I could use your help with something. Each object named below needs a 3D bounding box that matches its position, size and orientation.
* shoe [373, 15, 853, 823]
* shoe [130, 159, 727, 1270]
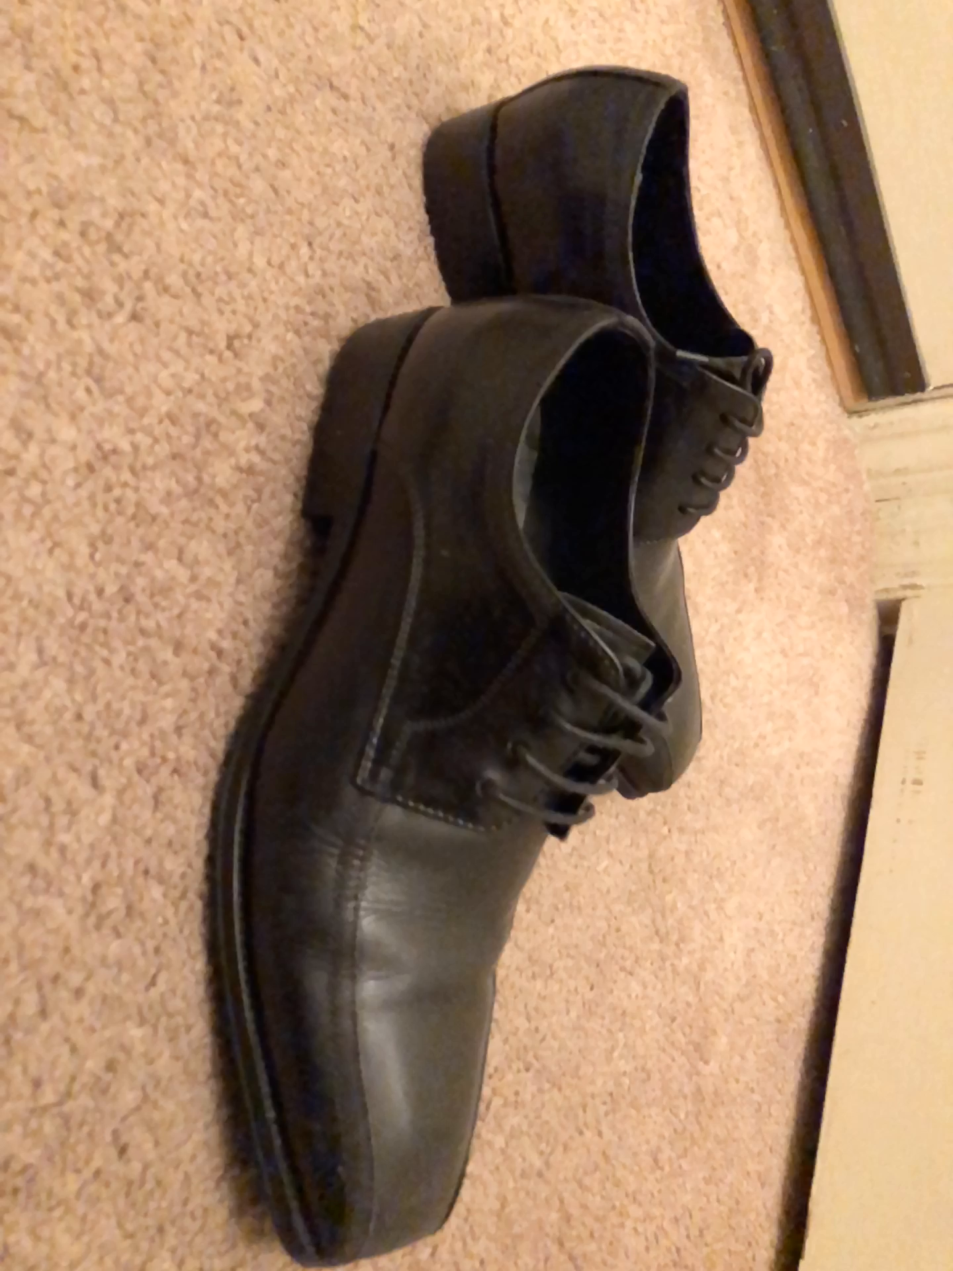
[{"bbox_3d":[0.072,-0.081,0.456,0.116,0.110,0.297,-35,116,-51],"label":"shoe"},{"bbox_3d":[-0.001,0.028,0.317,0.111,0.107,0.283,23,68,-53],"label":"shoe"}]
